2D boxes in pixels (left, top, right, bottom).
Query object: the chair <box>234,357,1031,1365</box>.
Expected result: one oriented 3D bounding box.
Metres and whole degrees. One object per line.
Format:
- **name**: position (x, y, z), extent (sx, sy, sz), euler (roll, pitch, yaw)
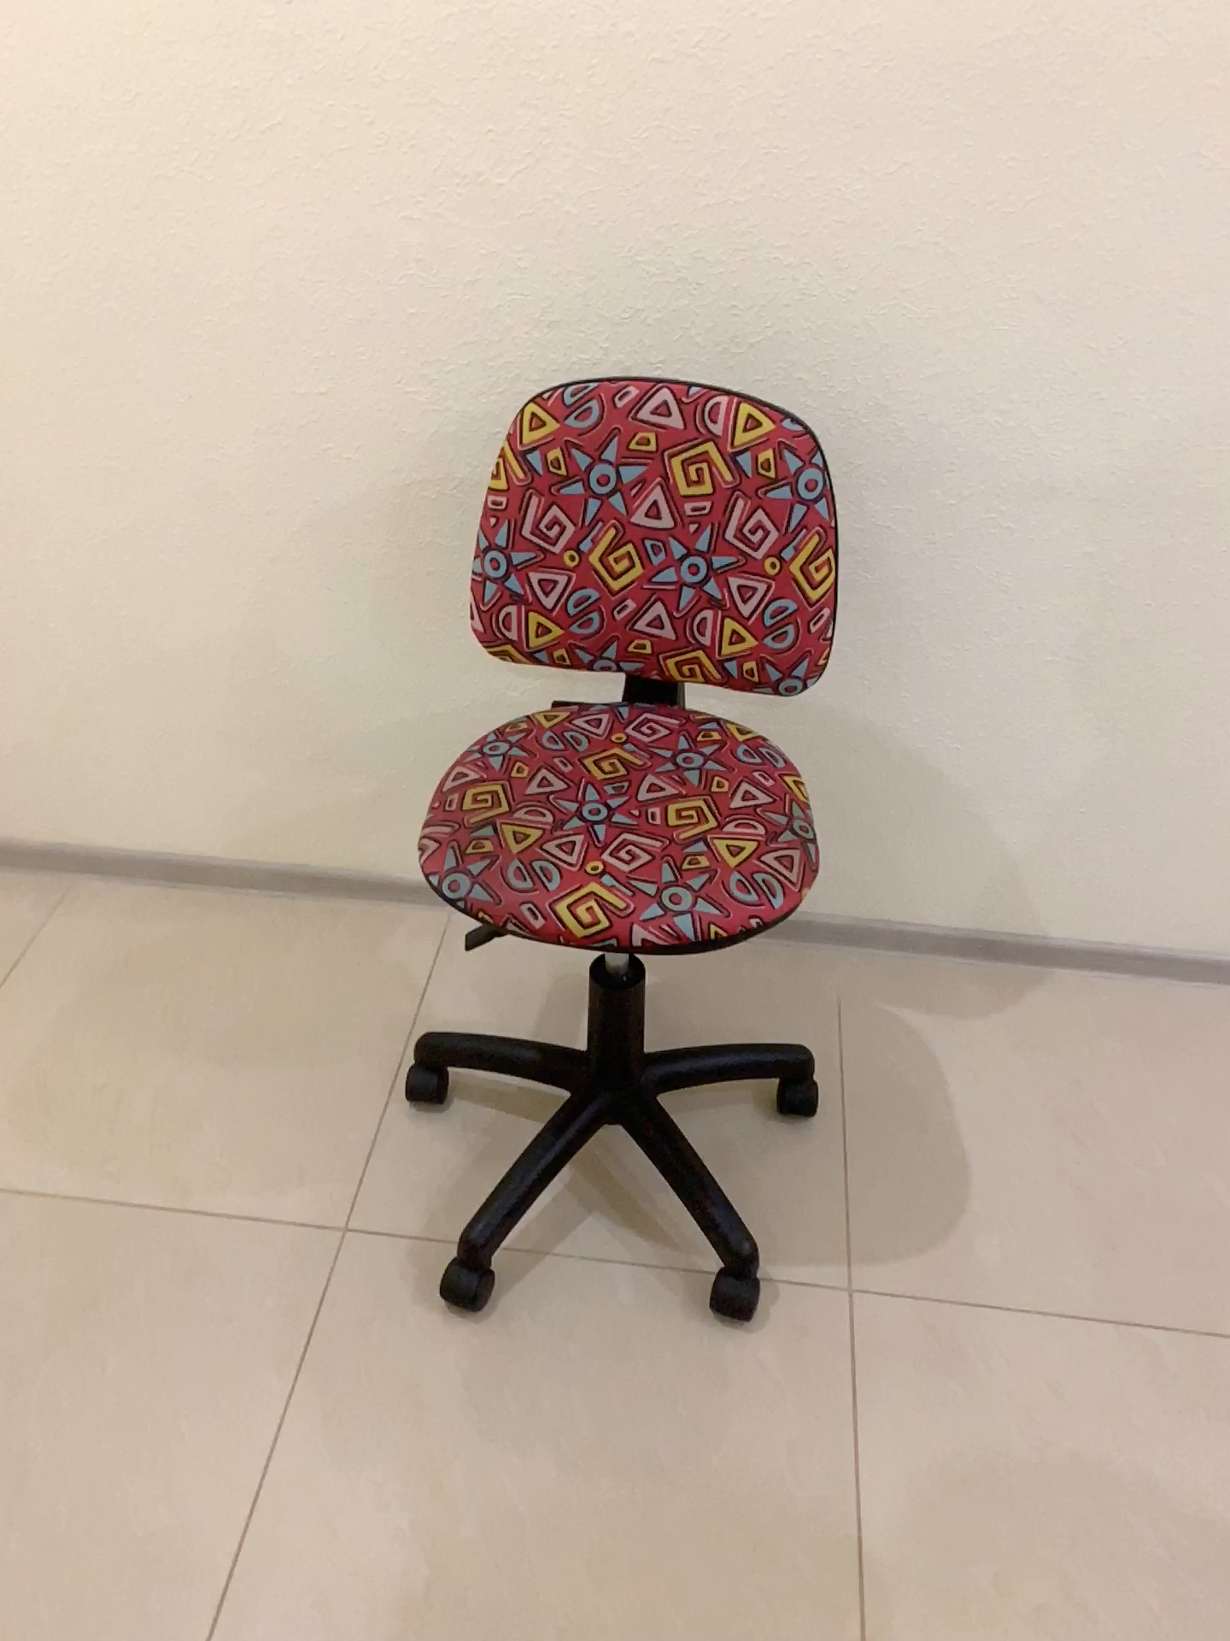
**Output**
- **chair**: position (0.021, 0.057, 1.345), extent (0.550, 0.885, 0.543), euler (5, 37, 4)
